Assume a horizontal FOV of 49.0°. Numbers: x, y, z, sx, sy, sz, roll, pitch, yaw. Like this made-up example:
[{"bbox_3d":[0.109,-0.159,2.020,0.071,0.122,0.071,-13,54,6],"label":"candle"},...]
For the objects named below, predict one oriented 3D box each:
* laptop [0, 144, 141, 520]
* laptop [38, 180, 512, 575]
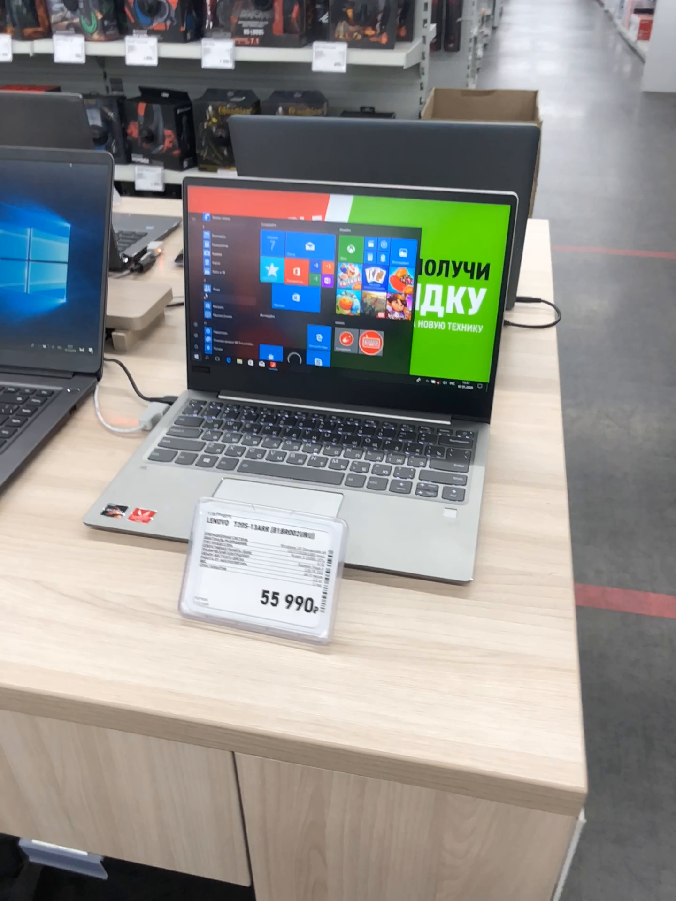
[{"bbox_3d":[-0.427,-0.138,0.688,0.344,0.188,0.341,6,36,9],"label":"laptop"},{"bbox_3d":[-0.021,-0.080,0.601,0.285,0.187,0.263,7,36,11],"label":"laptop"}]
